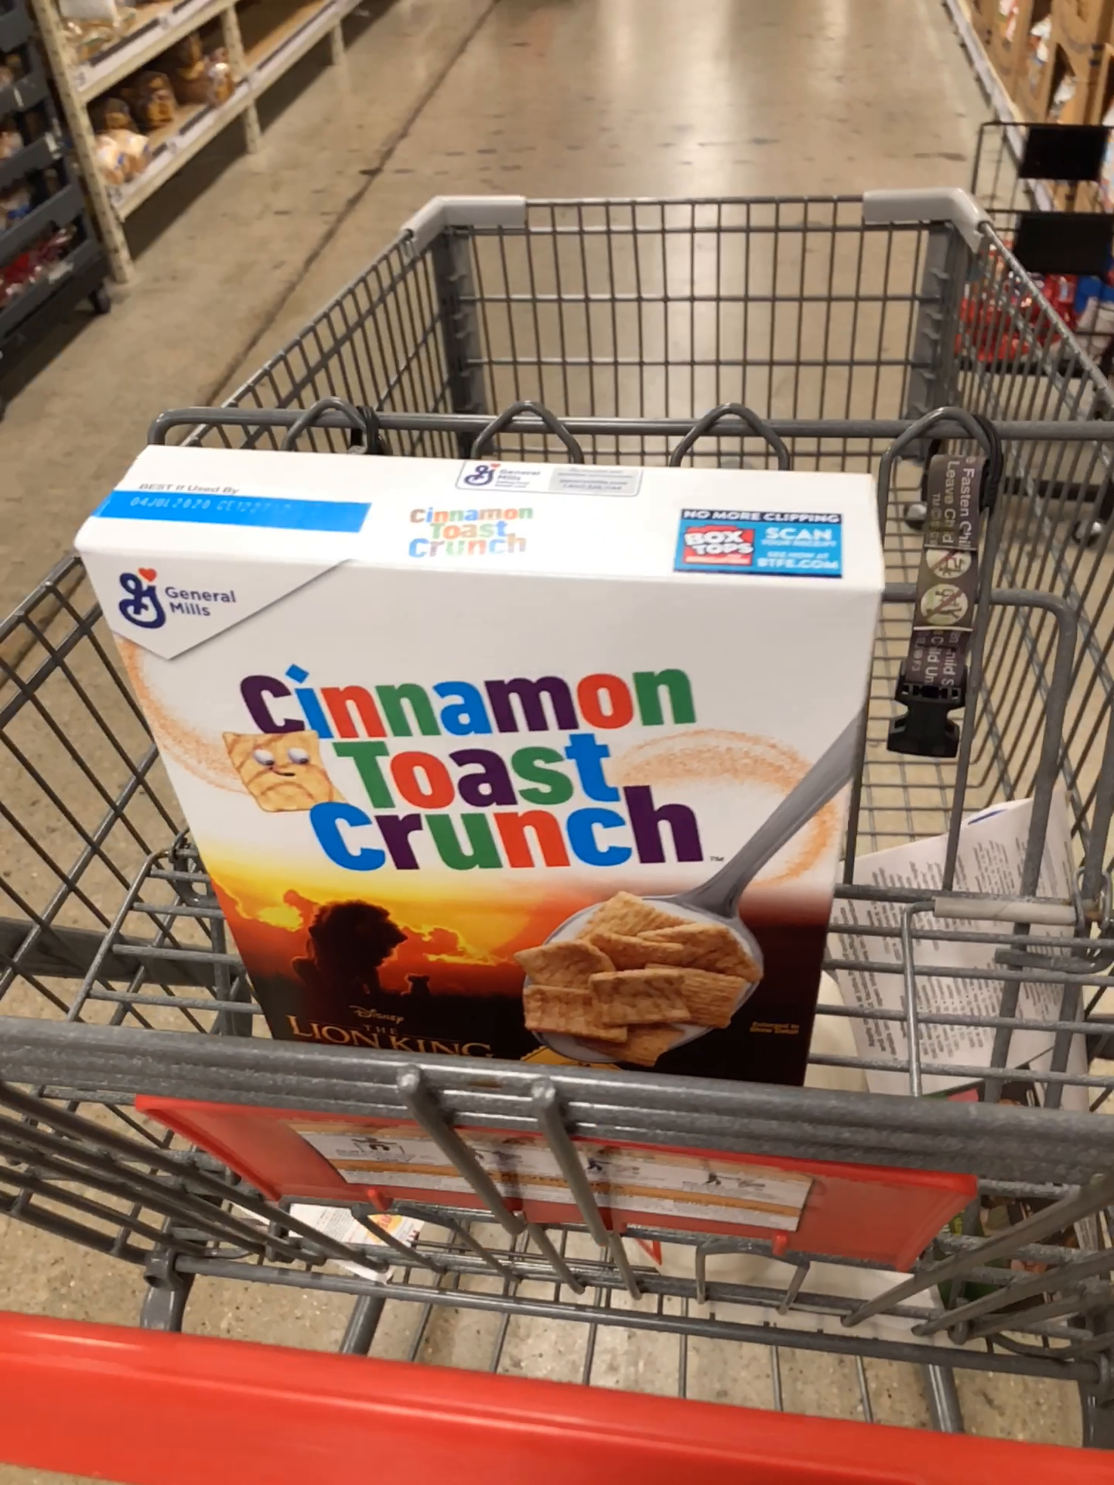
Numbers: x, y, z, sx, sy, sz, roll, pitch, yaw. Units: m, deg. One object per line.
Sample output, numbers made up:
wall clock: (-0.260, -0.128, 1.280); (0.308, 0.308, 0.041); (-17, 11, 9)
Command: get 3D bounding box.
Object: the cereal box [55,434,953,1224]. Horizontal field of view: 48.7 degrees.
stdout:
cereal box: (-0.002, 0.051, 0.405); (0.210, 0.309, 0.050); (5, 46, 11)
